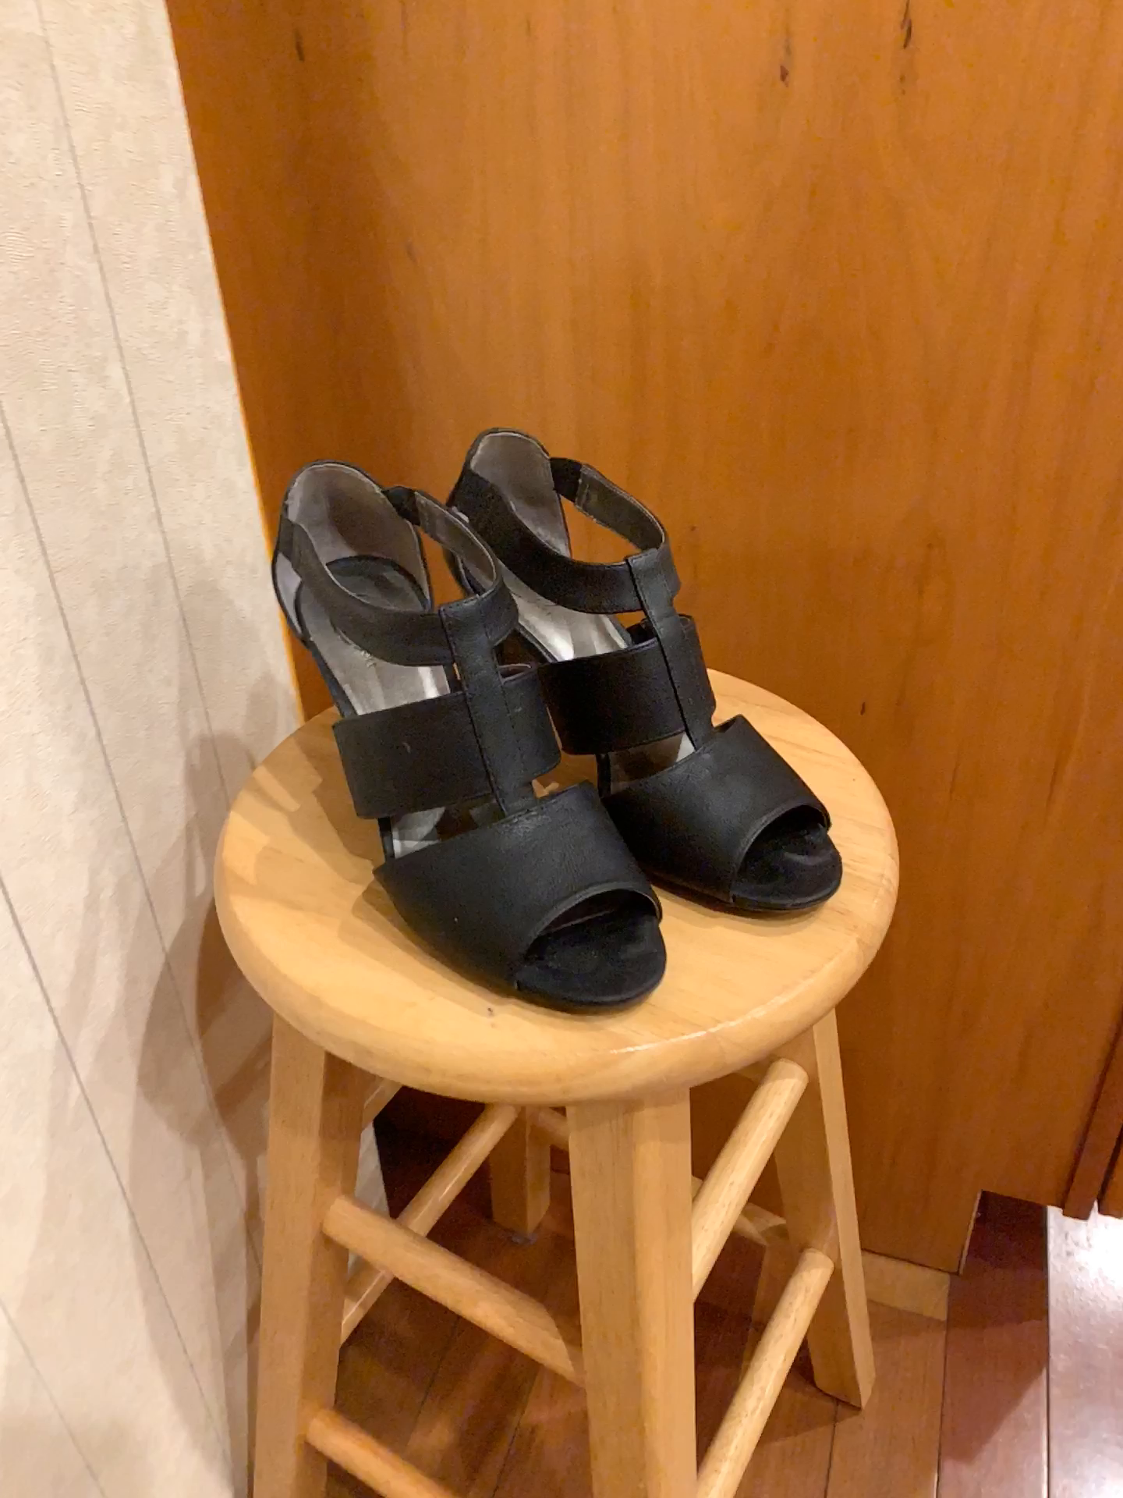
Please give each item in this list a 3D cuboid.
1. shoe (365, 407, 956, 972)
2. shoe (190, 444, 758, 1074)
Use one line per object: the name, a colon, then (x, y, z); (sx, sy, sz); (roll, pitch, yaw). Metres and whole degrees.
shoe: (0.027, -0.042, 0.485); (0.100, 0.130, 0.234); (-24, 40, -29)
shoe: (-0.045, -0.015, 0.448); (0.090, 0.125, 0.244); (-23, 39, -27)
